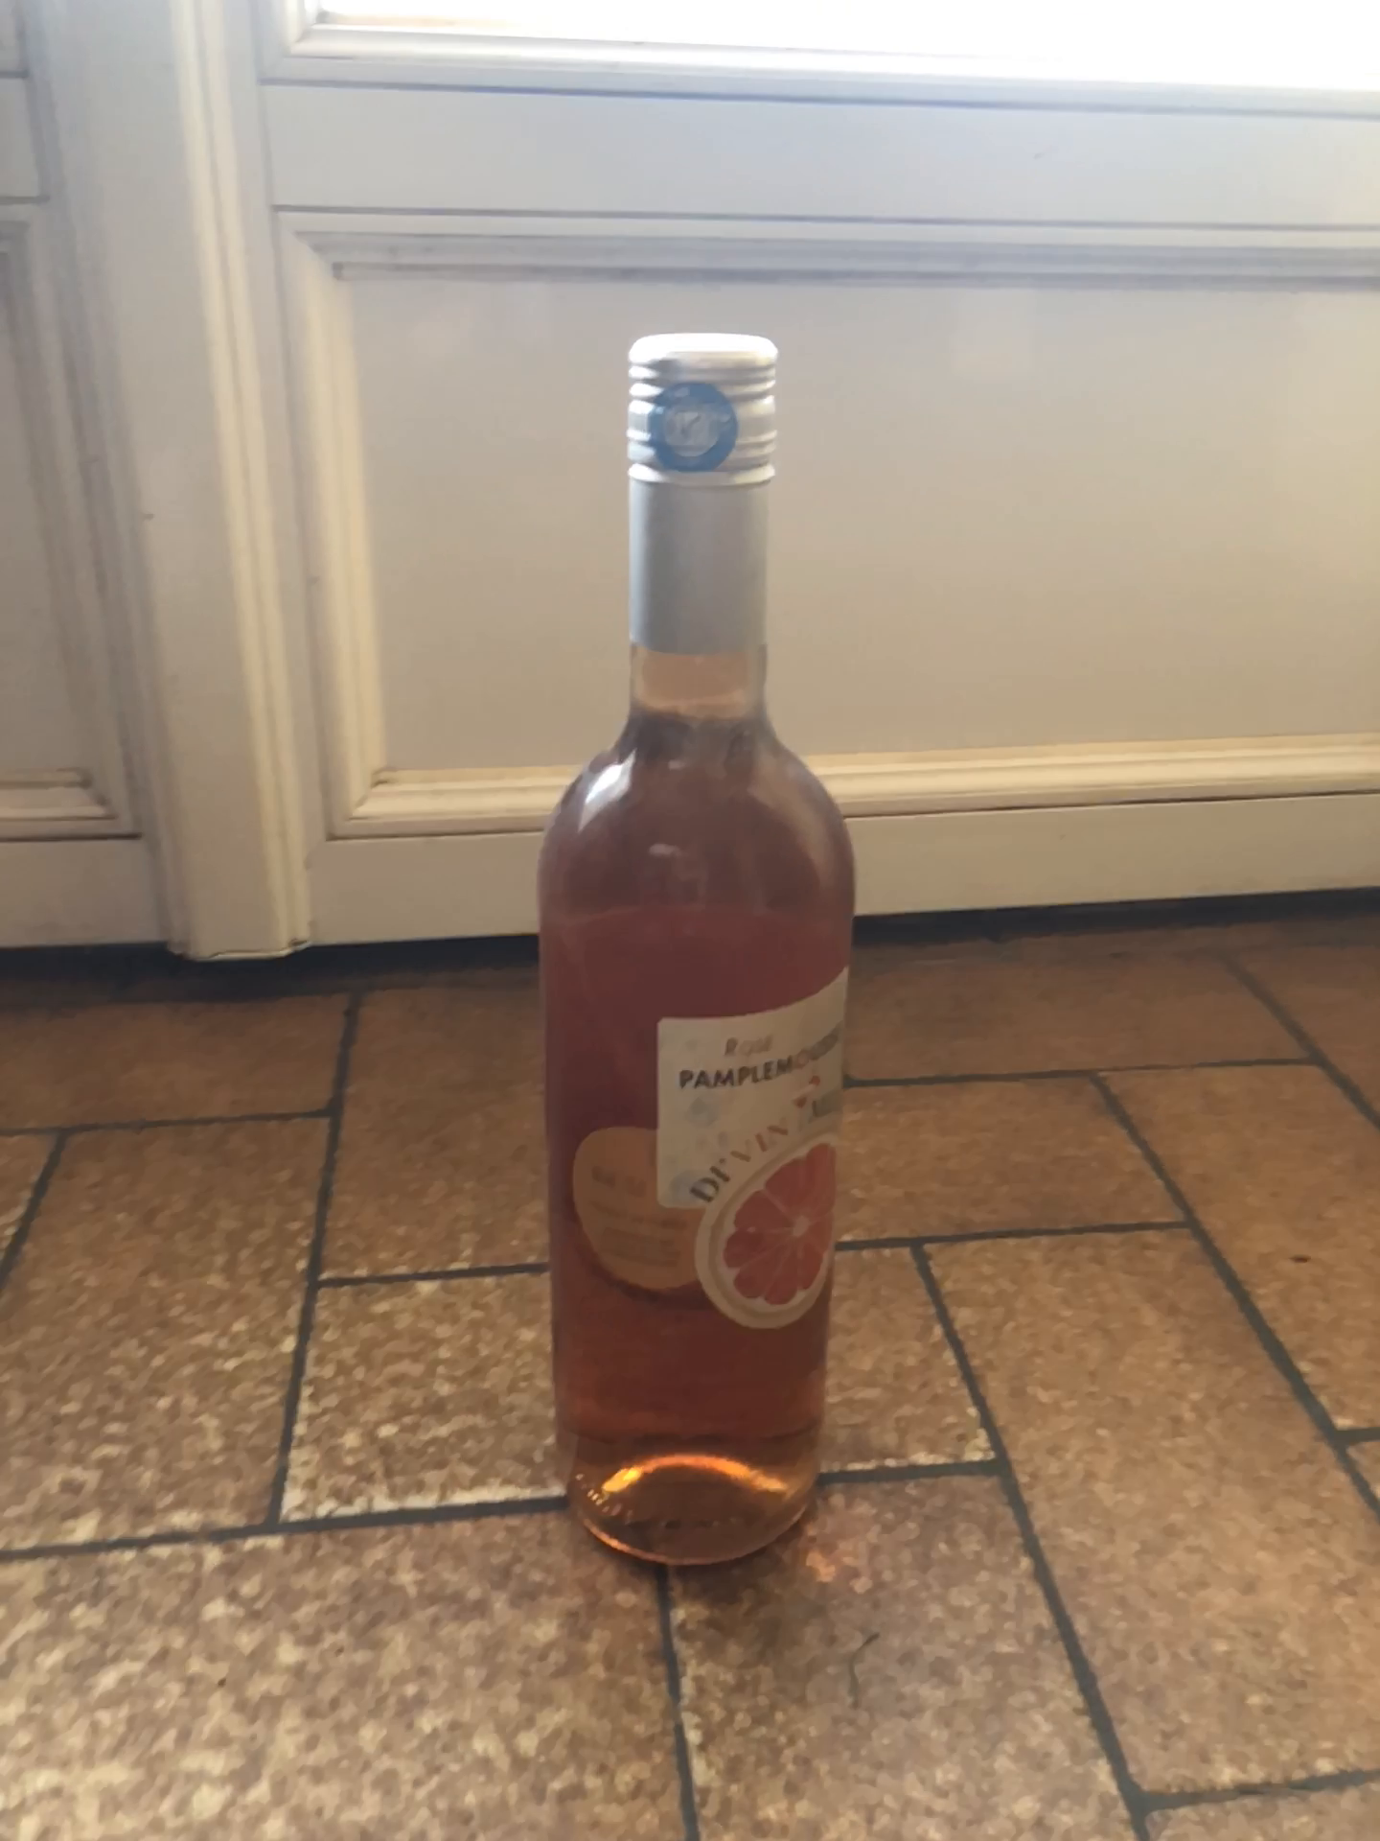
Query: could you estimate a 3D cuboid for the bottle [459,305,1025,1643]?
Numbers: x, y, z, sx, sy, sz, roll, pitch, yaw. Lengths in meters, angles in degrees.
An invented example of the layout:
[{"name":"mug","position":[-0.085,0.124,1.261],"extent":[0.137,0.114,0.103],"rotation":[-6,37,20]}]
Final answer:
[{"name":"bottle","position":[0.004,0.018,0.346],"extent":[0.080,0.288,0.080],"rotation":[1,25,0]}]
